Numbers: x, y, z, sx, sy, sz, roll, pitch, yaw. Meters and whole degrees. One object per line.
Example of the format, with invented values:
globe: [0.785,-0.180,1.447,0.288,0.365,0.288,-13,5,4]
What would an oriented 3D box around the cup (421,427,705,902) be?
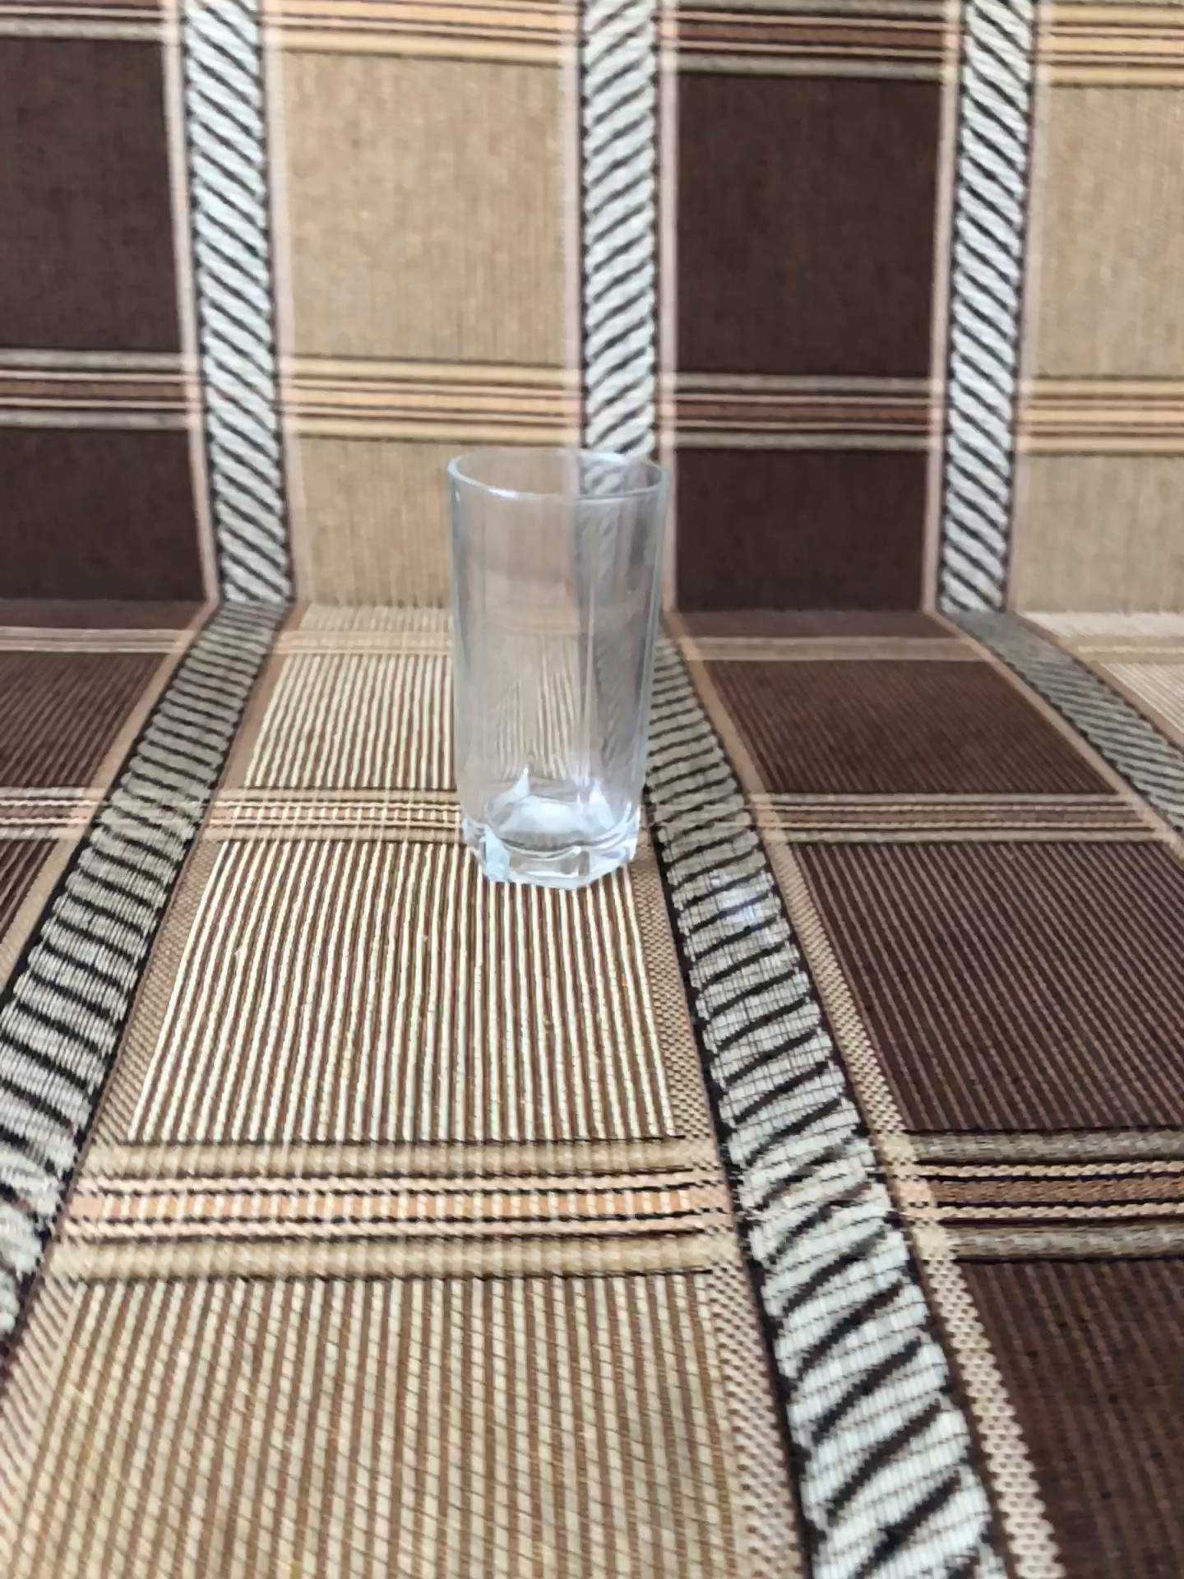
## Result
cup: [-0.009,-0.043,0.429,0.076,0.130,0.076,3,25,-1]
